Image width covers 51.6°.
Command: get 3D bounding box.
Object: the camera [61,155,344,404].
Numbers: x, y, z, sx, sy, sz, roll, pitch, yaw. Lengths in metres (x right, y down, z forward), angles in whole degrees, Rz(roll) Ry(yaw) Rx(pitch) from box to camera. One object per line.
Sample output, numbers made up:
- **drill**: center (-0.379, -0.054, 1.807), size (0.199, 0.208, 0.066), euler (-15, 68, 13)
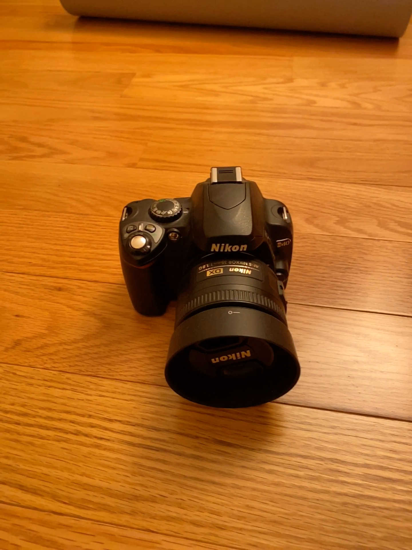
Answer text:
- **camera**: center (0.000, -0.002, 0.273), size (0.130, 0.080, 0.141), euler (-1, 46, 2)
